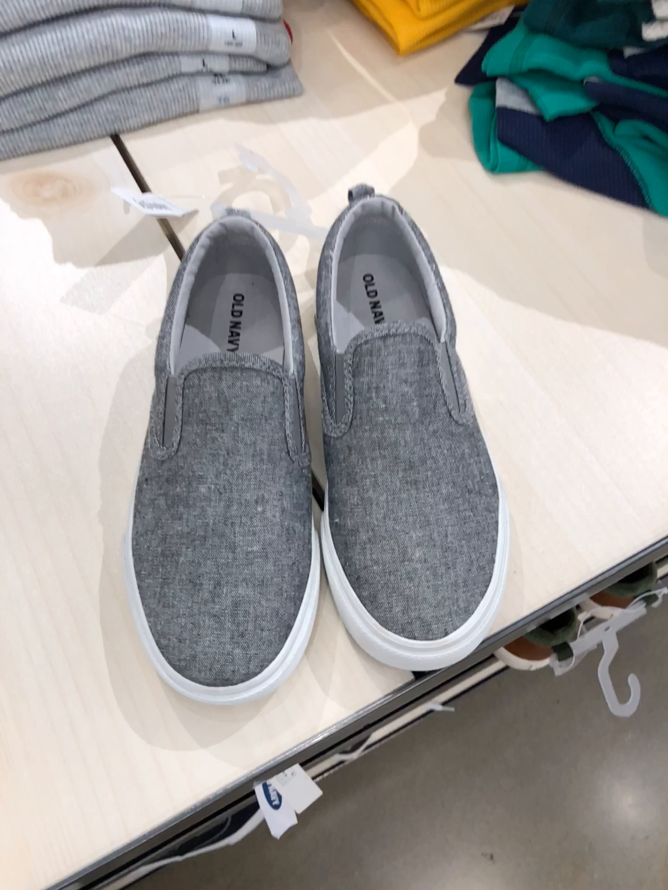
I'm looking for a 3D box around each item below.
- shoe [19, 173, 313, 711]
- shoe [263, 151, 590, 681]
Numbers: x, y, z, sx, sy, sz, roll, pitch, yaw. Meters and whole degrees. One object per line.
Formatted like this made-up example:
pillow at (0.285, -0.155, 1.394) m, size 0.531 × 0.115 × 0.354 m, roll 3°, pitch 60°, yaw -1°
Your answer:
shoe at (-0.055, -0.003, 0.321) m, size 0.090 × 0.100 × 0.210 m, roll -1°, pitch 63°, yaw -2°
shoe at (0.026, -0.016, 0.336) m, size 0.090 × 0.100 × 0.210 m, roll -6°, pitch 63°, yaw -5°
